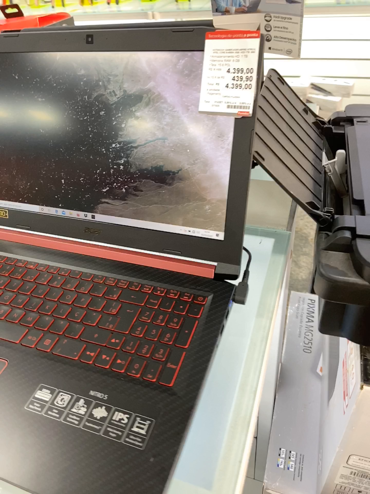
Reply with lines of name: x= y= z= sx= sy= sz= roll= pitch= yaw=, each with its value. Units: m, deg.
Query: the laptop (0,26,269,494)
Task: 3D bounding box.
laptop: x=-0.152 y=-0.038 z=0.373 sx=0.387 sy=0.218 sz=0.362 roll=9 pitch=43 yaw=19
